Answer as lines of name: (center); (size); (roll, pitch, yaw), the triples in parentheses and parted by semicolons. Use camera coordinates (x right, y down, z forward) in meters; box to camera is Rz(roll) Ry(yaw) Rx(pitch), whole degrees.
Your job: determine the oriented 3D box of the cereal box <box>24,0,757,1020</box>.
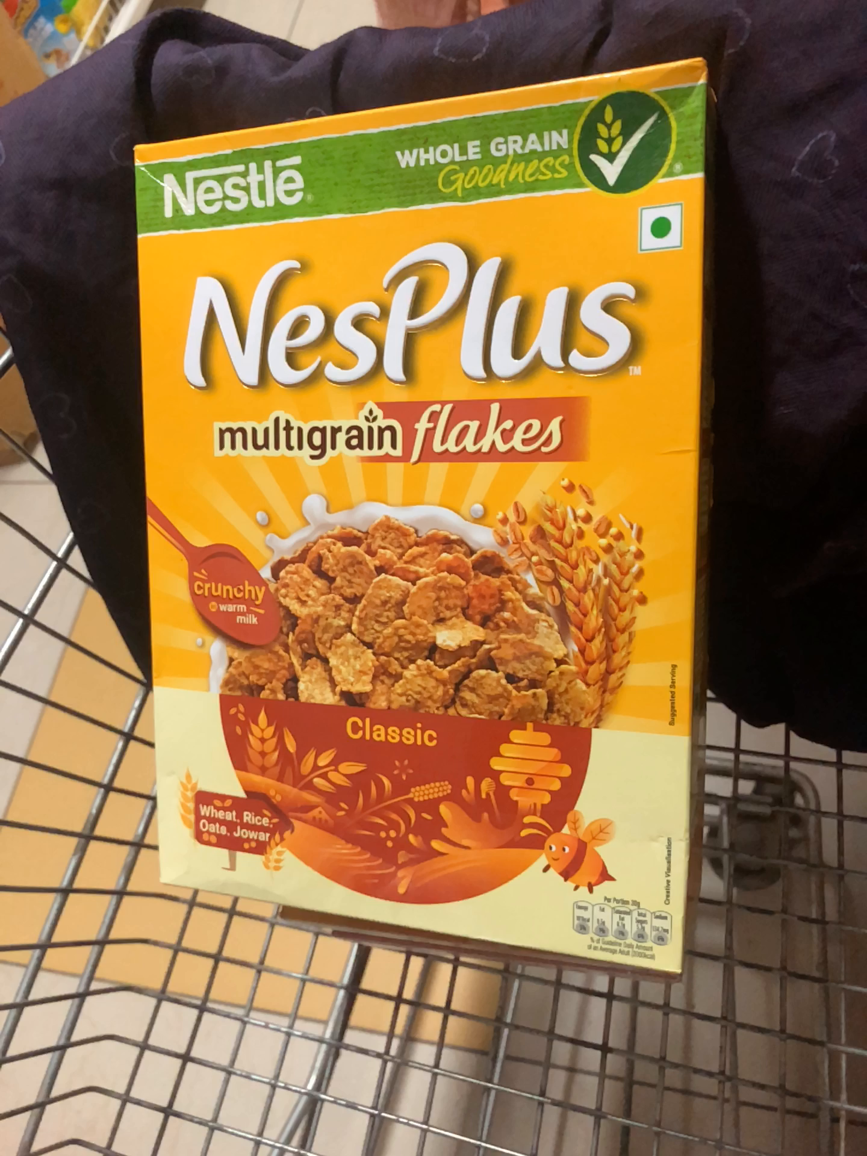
cereal box: (-0.008, -0.021, 0.300); (0.190, 0.080, 0.260); (4, 103, 17)
